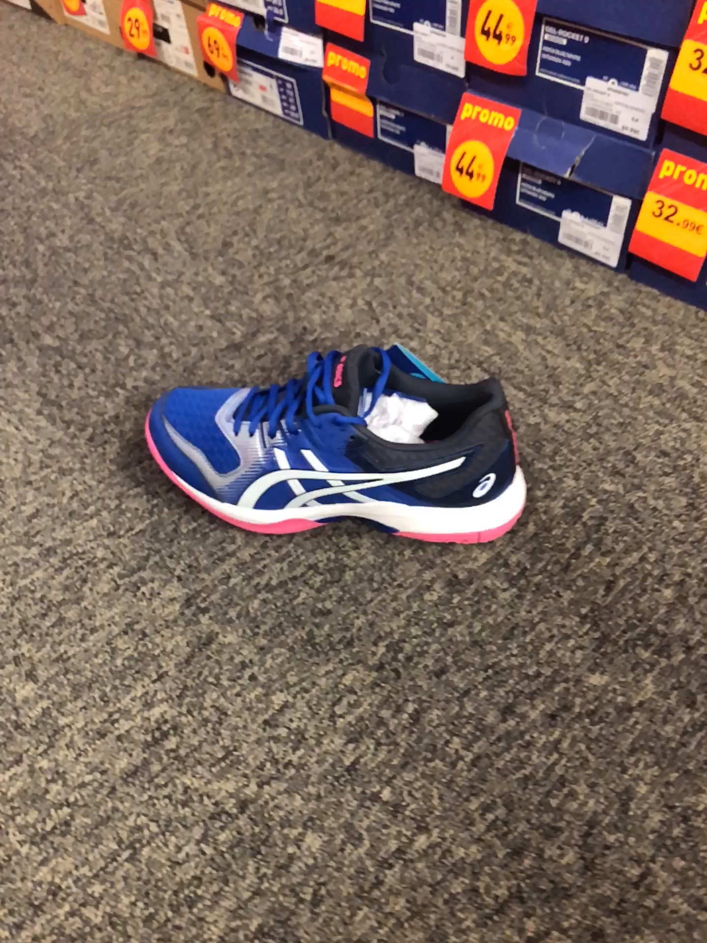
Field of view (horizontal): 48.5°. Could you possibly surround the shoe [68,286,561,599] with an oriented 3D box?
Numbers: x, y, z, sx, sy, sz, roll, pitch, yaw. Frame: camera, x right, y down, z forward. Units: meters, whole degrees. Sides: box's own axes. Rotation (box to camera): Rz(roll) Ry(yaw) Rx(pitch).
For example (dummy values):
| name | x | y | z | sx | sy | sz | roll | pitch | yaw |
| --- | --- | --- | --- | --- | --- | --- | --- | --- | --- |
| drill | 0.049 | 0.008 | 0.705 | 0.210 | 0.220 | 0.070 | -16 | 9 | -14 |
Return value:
| name | x | y | z | sx | sy | sz | roll | pitch | yaw |
| --- | --- | --- | --- | --- | --- | --- | --- | --- | --- |
| shoe | -0.018 | -0.025 | 0.505 | 0.270 | 0.099 | 0.126 | 10 | 49 | 13 |
